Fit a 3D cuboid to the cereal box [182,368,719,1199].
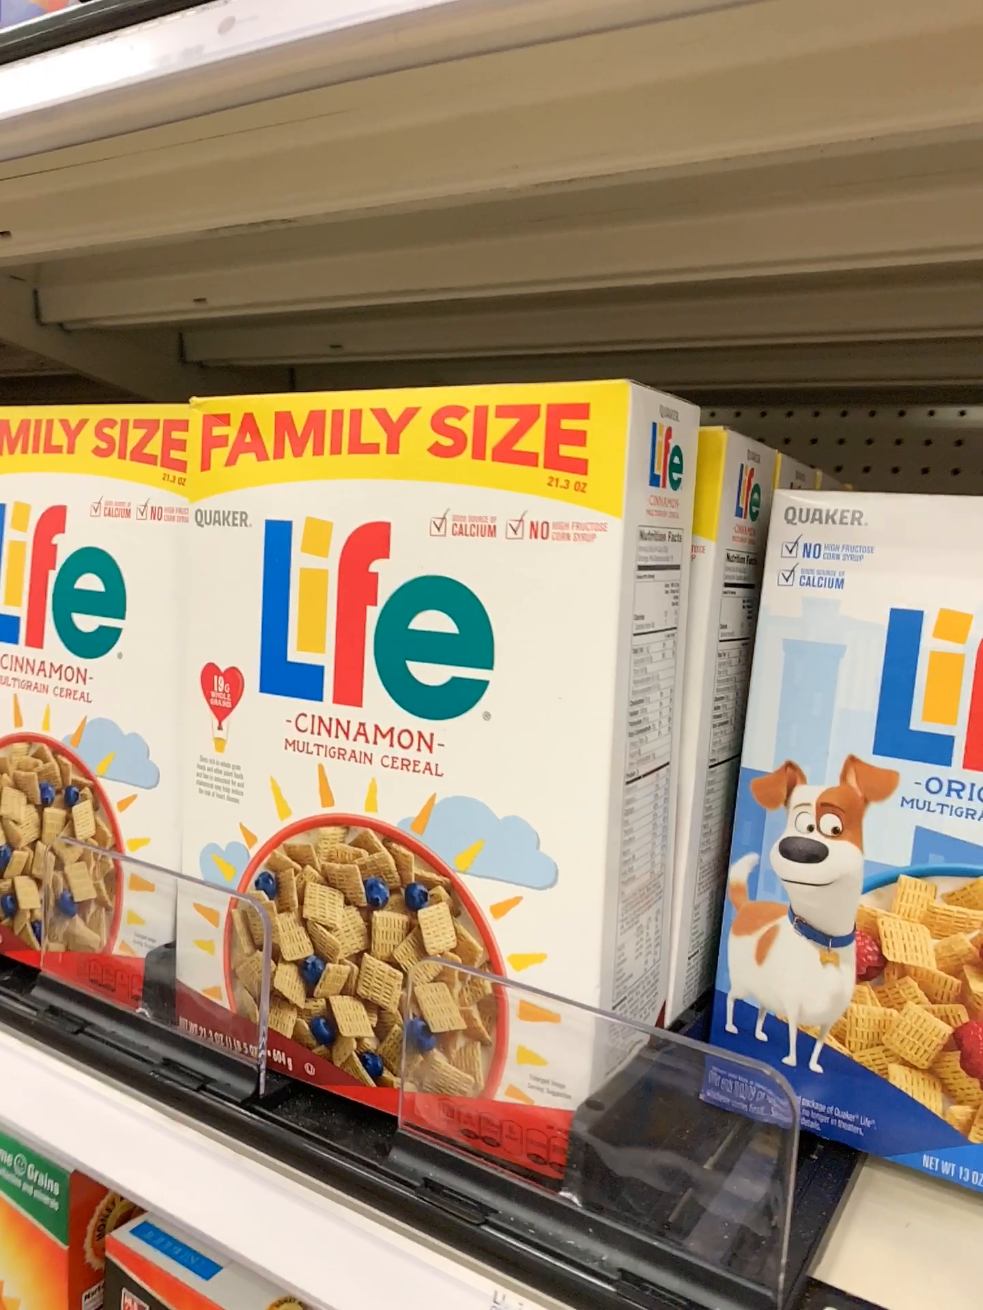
[{"bbox_3d":[-0.025,0.033,0.392,0.190,0.260,0.070,6,6,33],"label":"cereal box"}]
